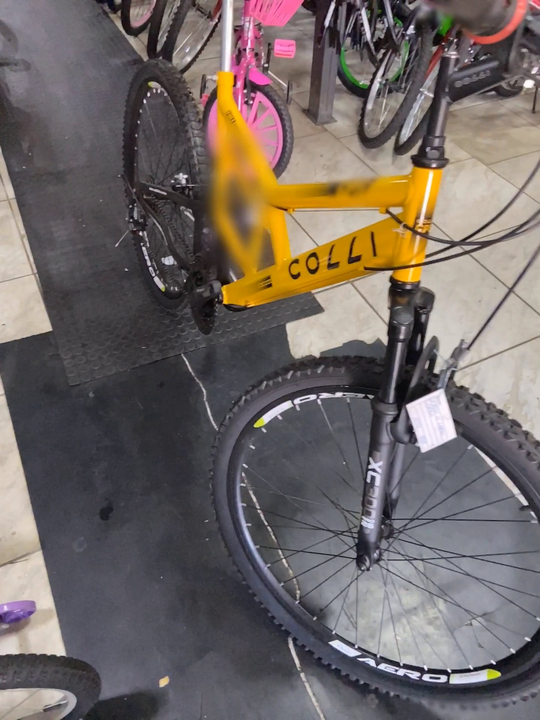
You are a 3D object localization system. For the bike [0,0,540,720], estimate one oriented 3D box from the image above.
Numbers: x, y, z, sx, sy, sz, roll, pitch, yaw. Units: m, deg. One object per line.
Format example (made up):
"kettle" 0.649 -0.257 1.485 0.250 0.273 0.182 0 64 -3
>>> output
"bike" -0.015 -0.268 0.950 0.476 0.987 1.525 -25 52 -22
